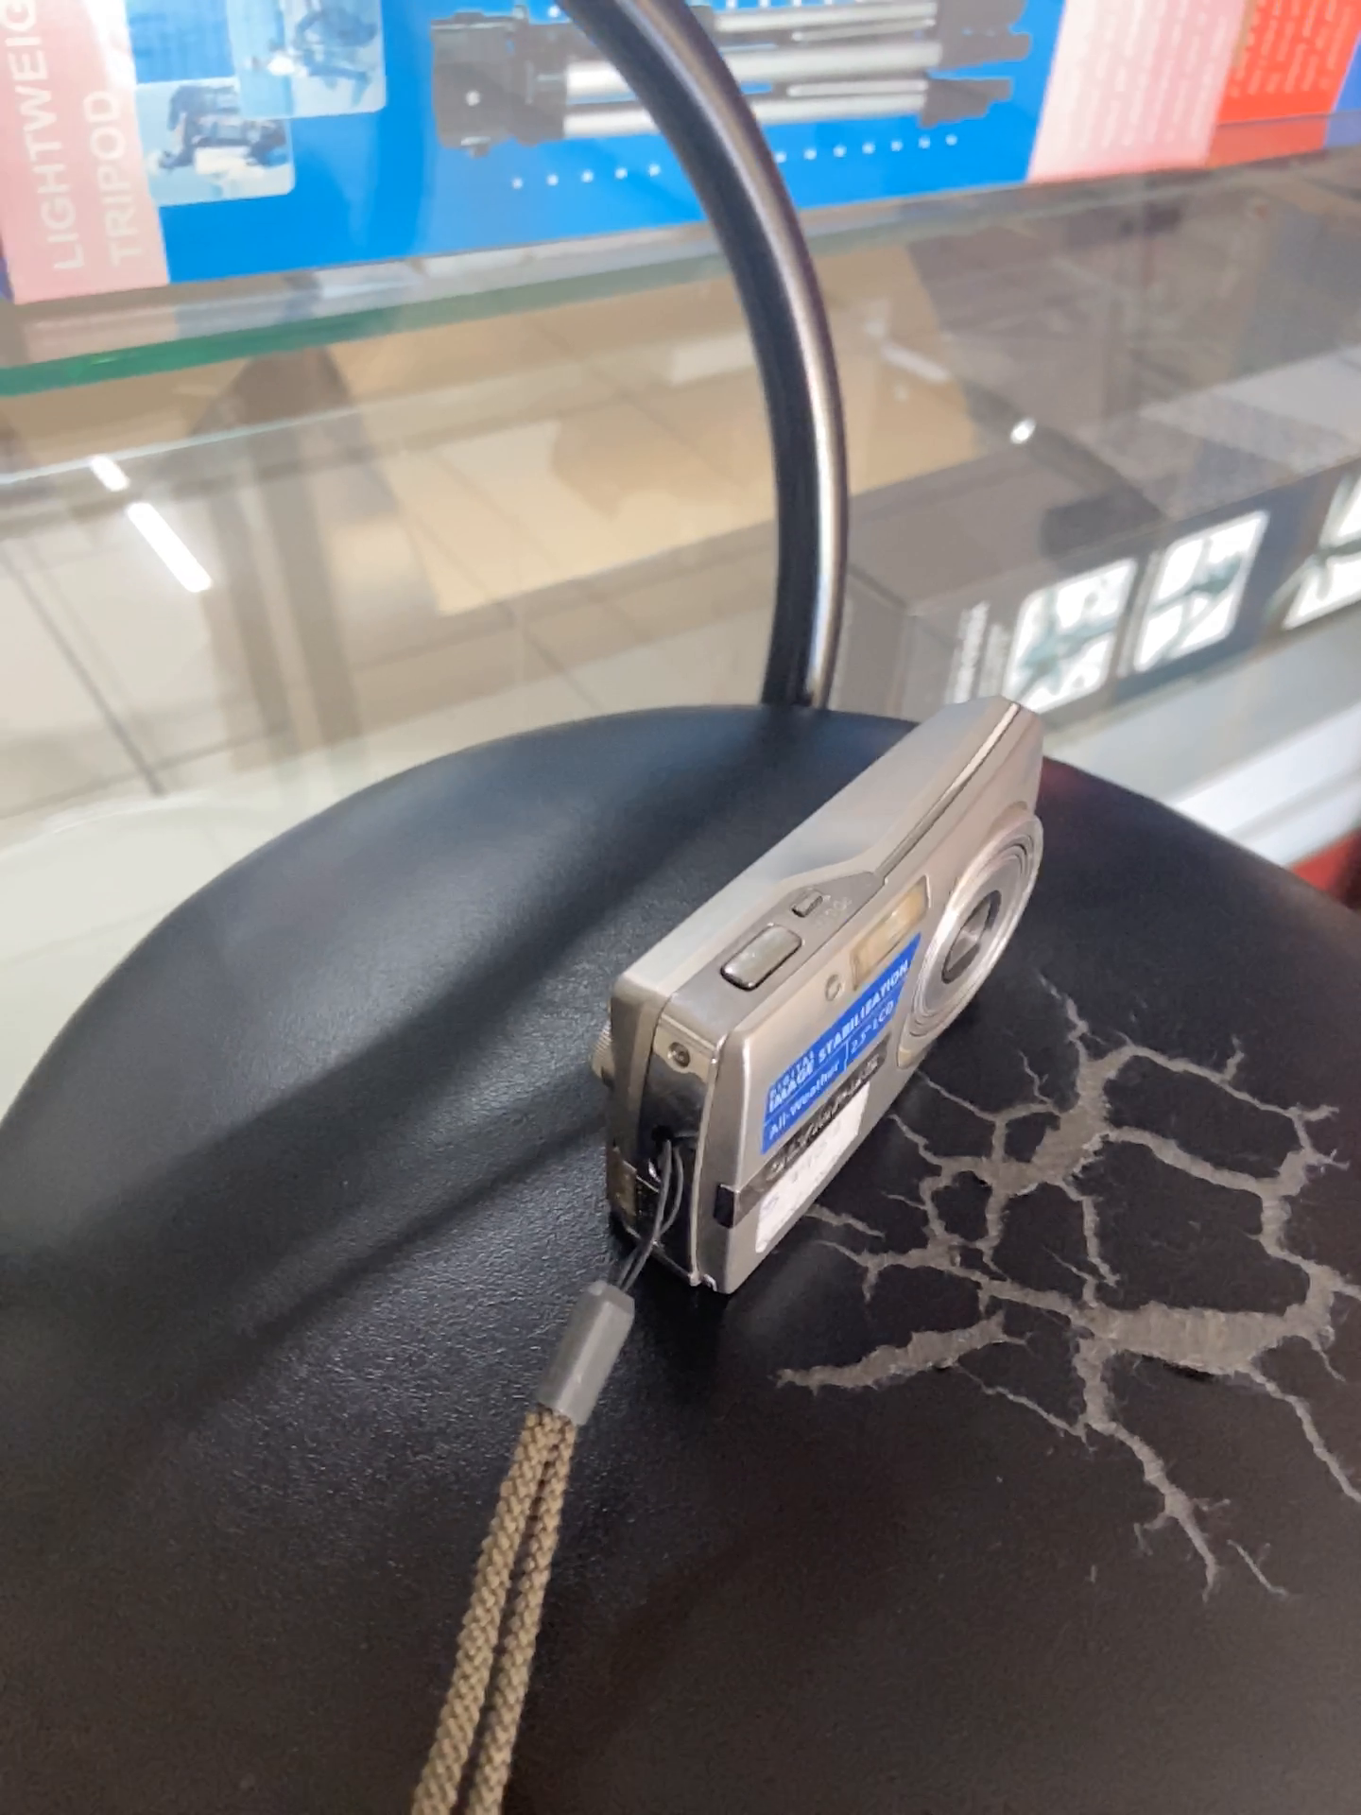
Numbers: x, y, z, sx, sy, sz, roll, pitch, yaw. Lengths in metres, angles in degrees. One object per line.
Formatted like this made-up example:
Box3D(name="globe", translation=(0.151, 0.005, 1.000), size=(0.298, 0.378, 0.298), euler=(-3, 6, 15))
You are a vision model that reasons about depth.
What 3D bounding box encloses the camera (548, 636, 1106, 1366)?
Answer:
Box3D(name="camera", translation=(0.024, 0.010, 0.218), size=(0.030, 0.060, 0.100), euler=(28, 48, 23))
